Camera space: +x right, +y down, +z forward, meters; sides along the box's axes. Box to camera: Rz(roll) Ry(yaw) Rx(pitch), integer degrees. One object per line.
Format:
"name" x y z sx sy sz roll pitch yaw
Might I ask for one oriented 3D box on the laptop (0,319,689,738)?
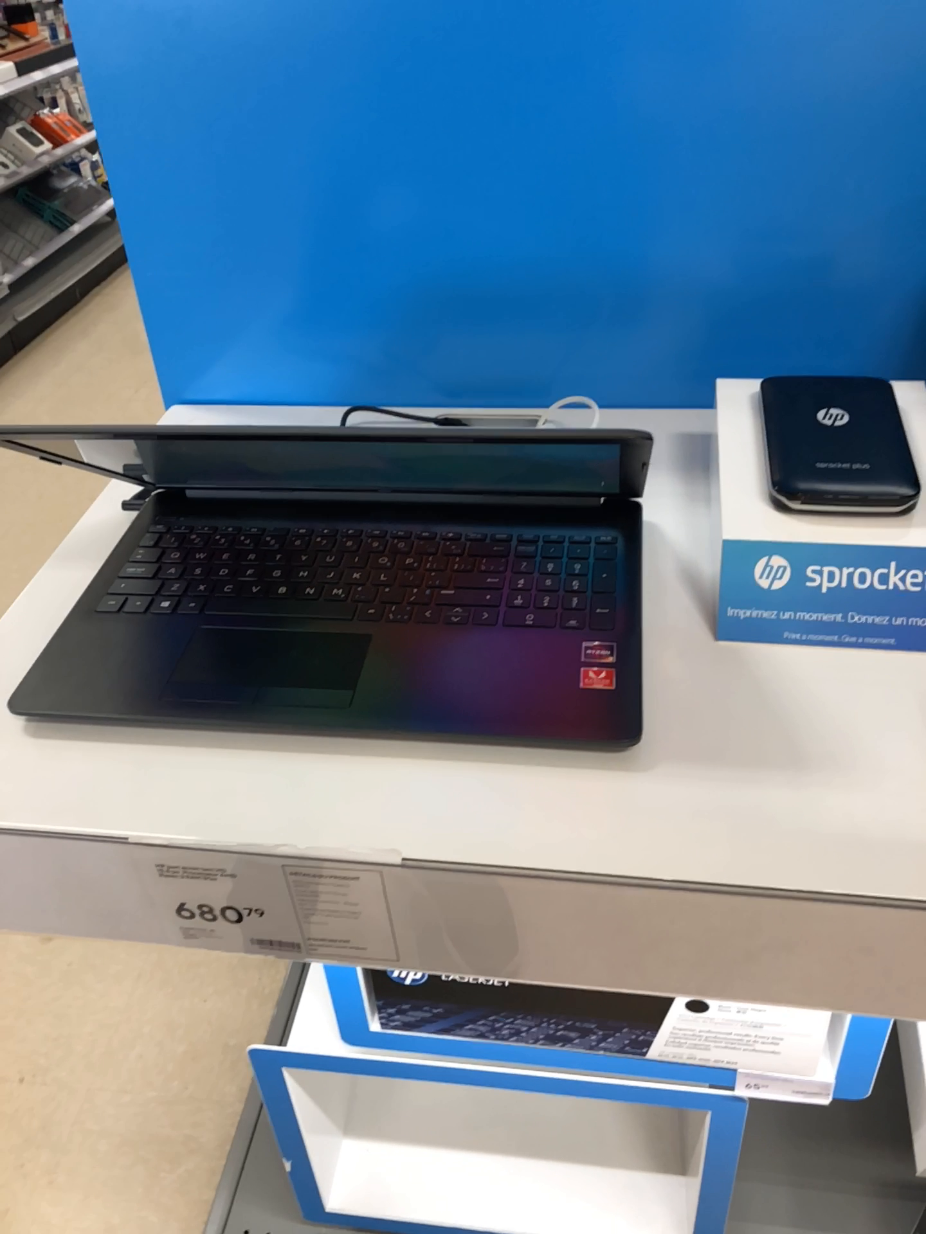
"laptop" -0.059 -0.068 0.602 0.355 0.130 0.243 2 37 6
